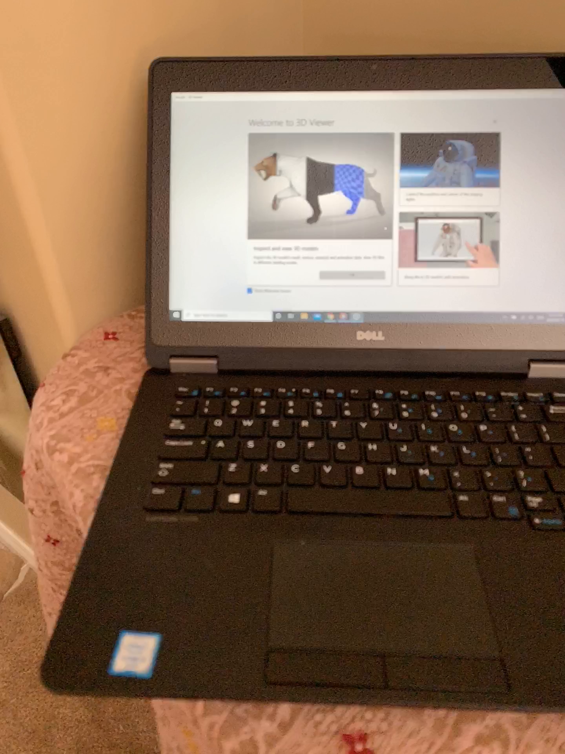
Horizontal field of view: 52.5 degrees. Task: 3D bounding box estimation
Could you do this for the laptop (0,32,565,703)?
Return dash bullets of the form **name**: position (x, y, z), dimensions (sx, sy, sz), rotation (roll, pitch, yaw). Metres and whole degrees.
- **laptop**: position (0.069, -0.062, 0.375), dimensions (0.366, 0.186, 0.424), rotation (0, 42, 3)
